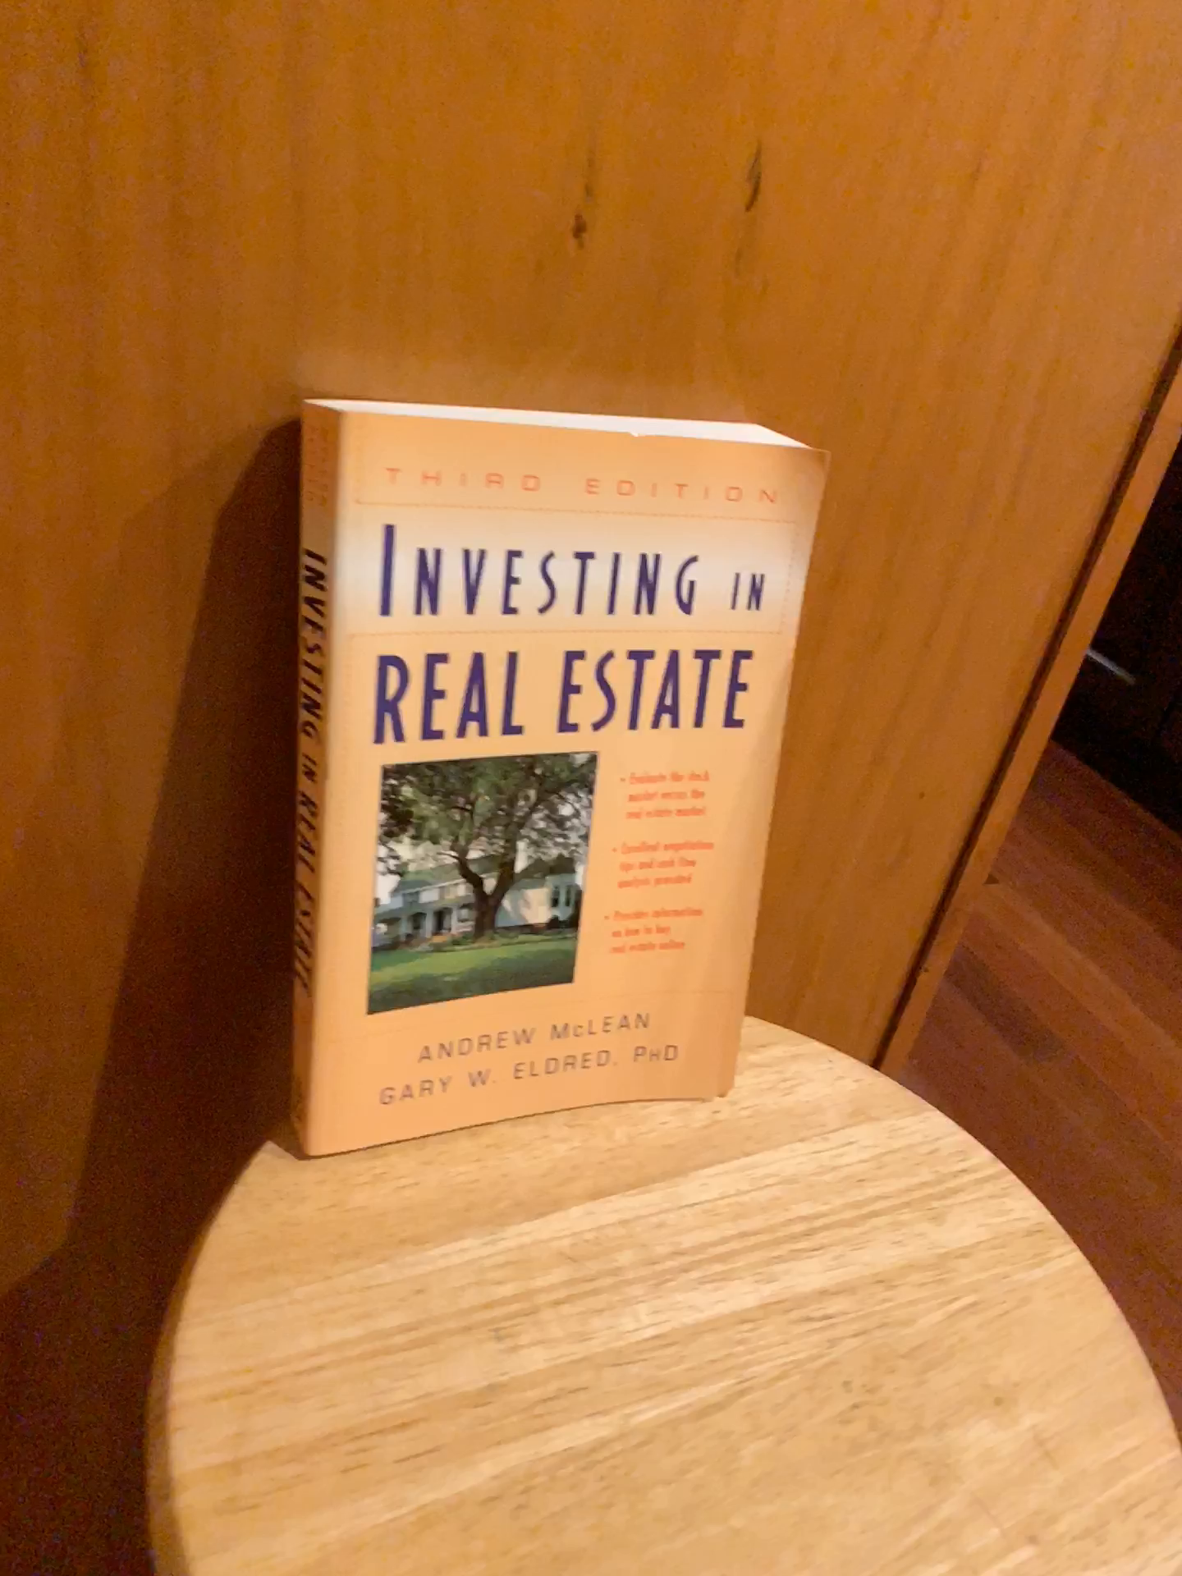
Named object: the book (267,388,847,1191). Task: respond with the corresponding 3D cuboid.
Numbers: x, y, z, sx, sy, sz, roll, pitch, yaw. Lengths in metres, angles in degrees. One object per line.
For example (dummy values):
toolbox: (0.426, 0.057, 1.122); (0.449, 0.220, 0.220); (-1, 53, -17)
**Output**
book: (-0.016, 0.000, 0.388); (0.160, 0.229, 0.050); (-4, 21, -27)
